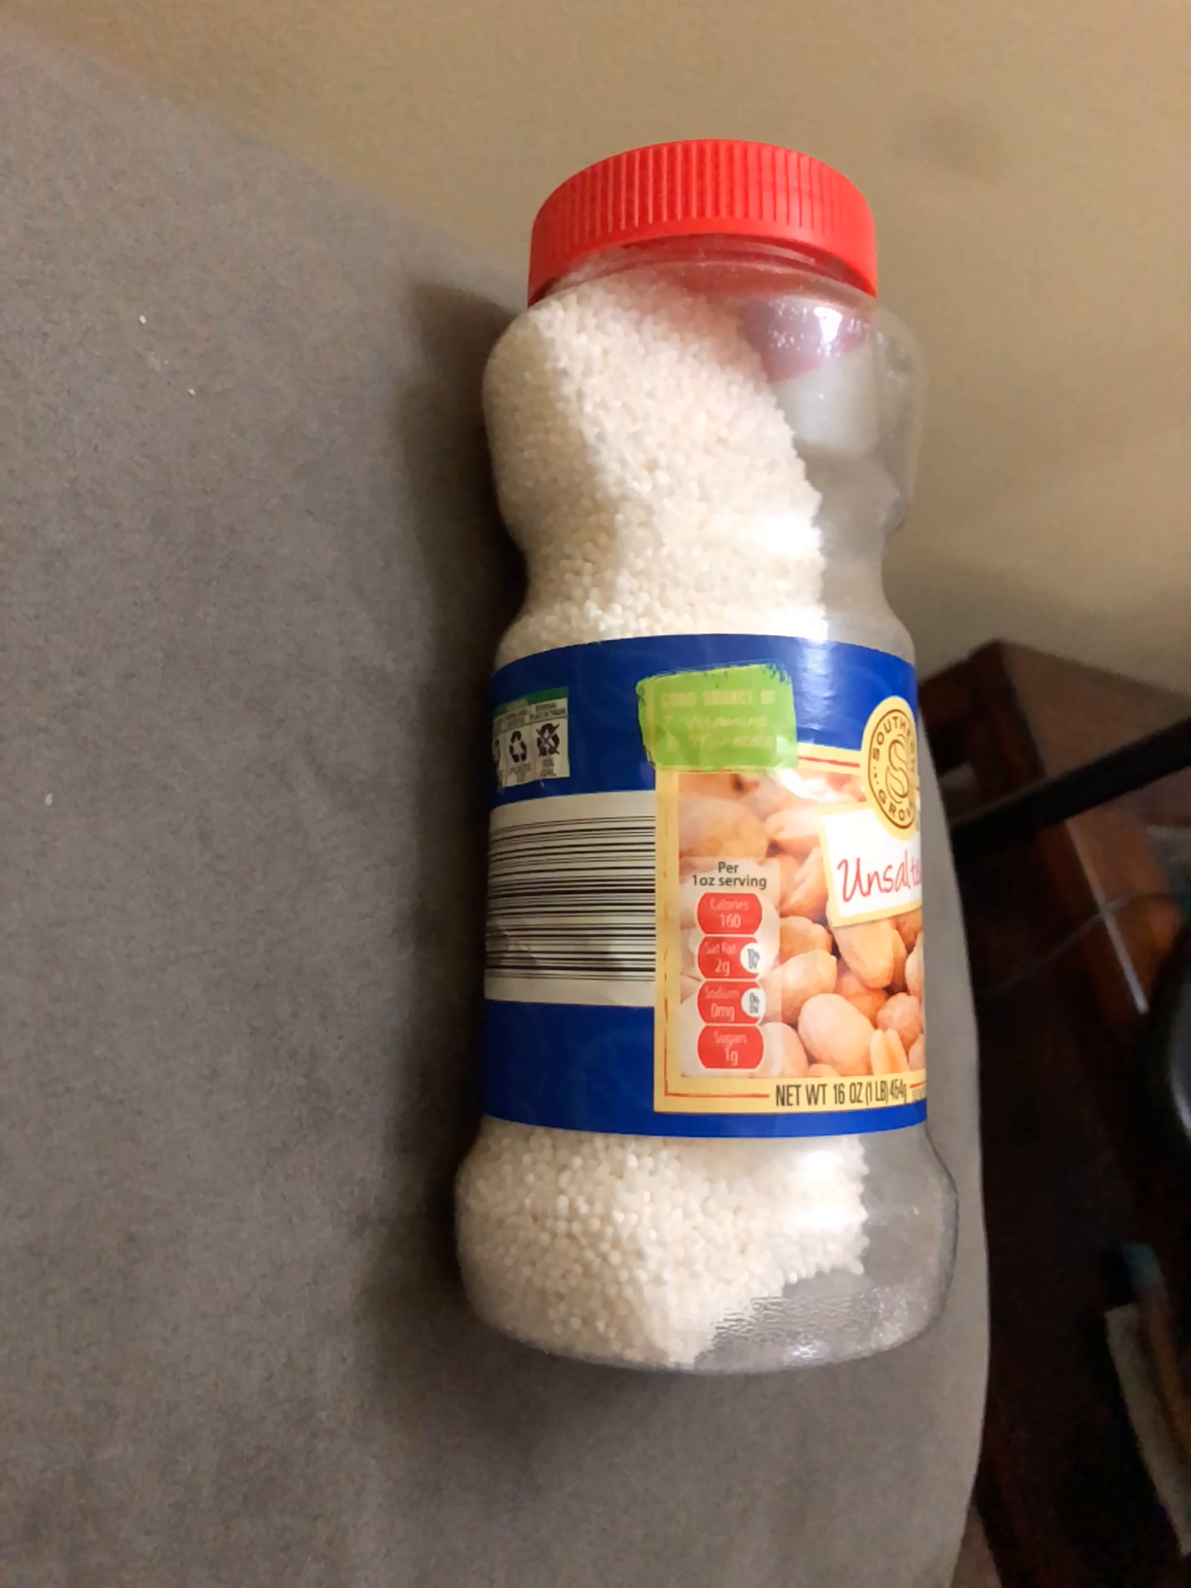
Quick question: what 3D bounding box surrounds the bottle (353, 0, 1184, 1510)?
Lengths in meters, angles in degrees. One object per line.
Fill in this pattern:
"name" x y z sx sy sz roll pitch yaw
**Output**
"bottle" 0.026 -0.020 0.228 0.096 0.090 0.220 8 77 -44
